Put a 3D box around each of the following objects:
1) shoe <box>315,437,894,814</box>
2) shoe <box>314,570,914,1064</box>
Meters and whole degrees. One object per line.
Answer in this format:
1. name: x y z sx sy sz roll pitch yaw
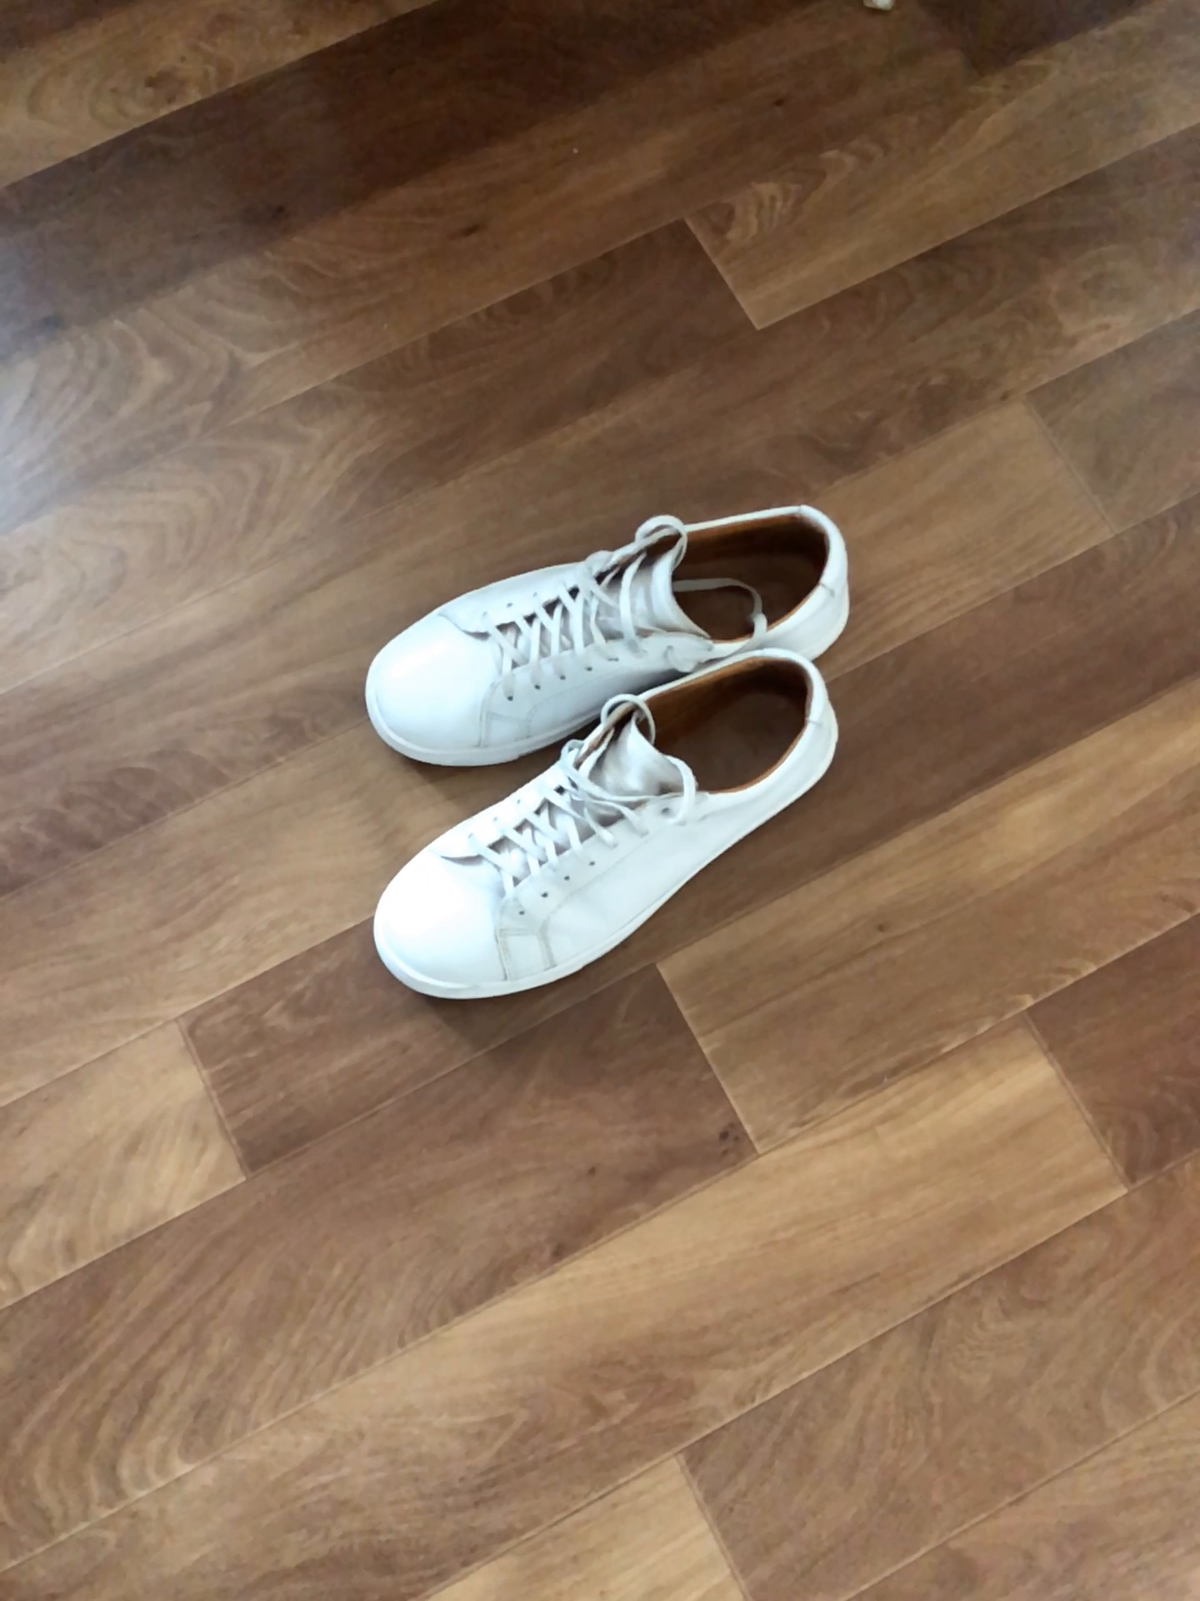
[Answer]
1. shoe: 0.002 -0.093 0.723 0.280 0.090 0.110 -16 75 -3
2. shoe: 0.009 0.011 0.691 0.280 0.090 0.110 -32 77 -7
